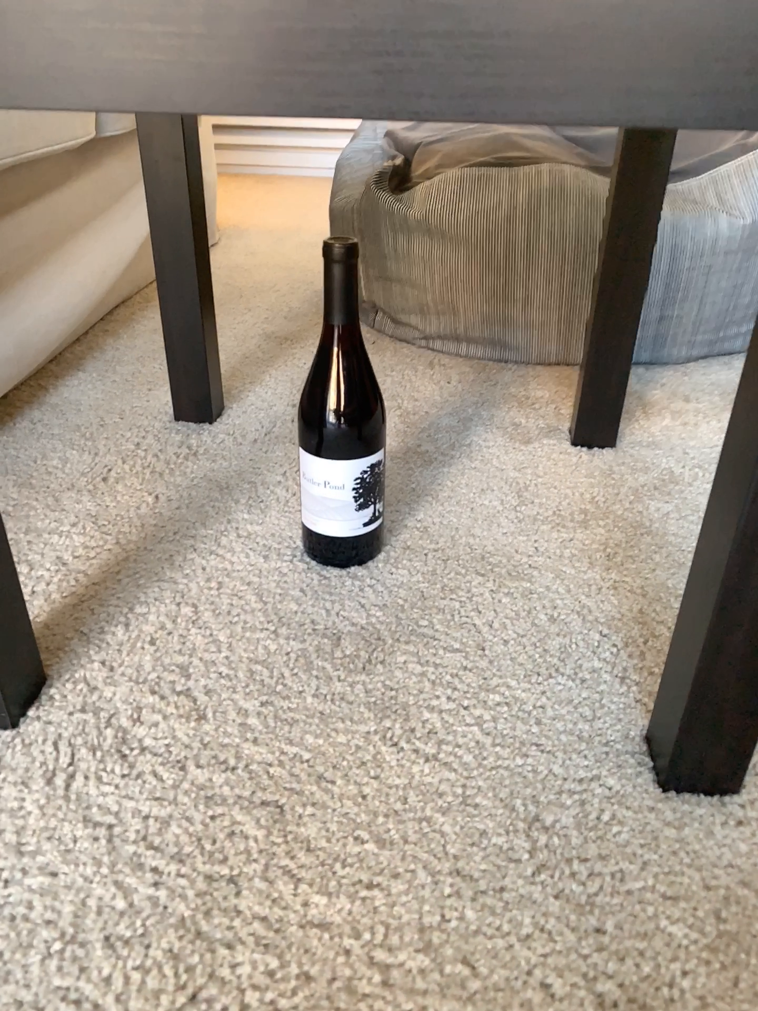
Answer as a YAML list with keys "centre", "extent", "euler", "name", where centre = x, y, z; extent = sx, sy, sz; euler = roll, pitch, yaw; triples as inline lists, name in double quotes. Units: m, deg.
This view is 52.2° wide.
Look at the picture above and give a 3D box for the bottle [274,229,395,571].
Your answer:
- centre: [-0.036, -0.085, 0.688]
  extent: [0.090, 0.288, 0.091]
  euler: [1, 32, -1]
  name: "bottle"
